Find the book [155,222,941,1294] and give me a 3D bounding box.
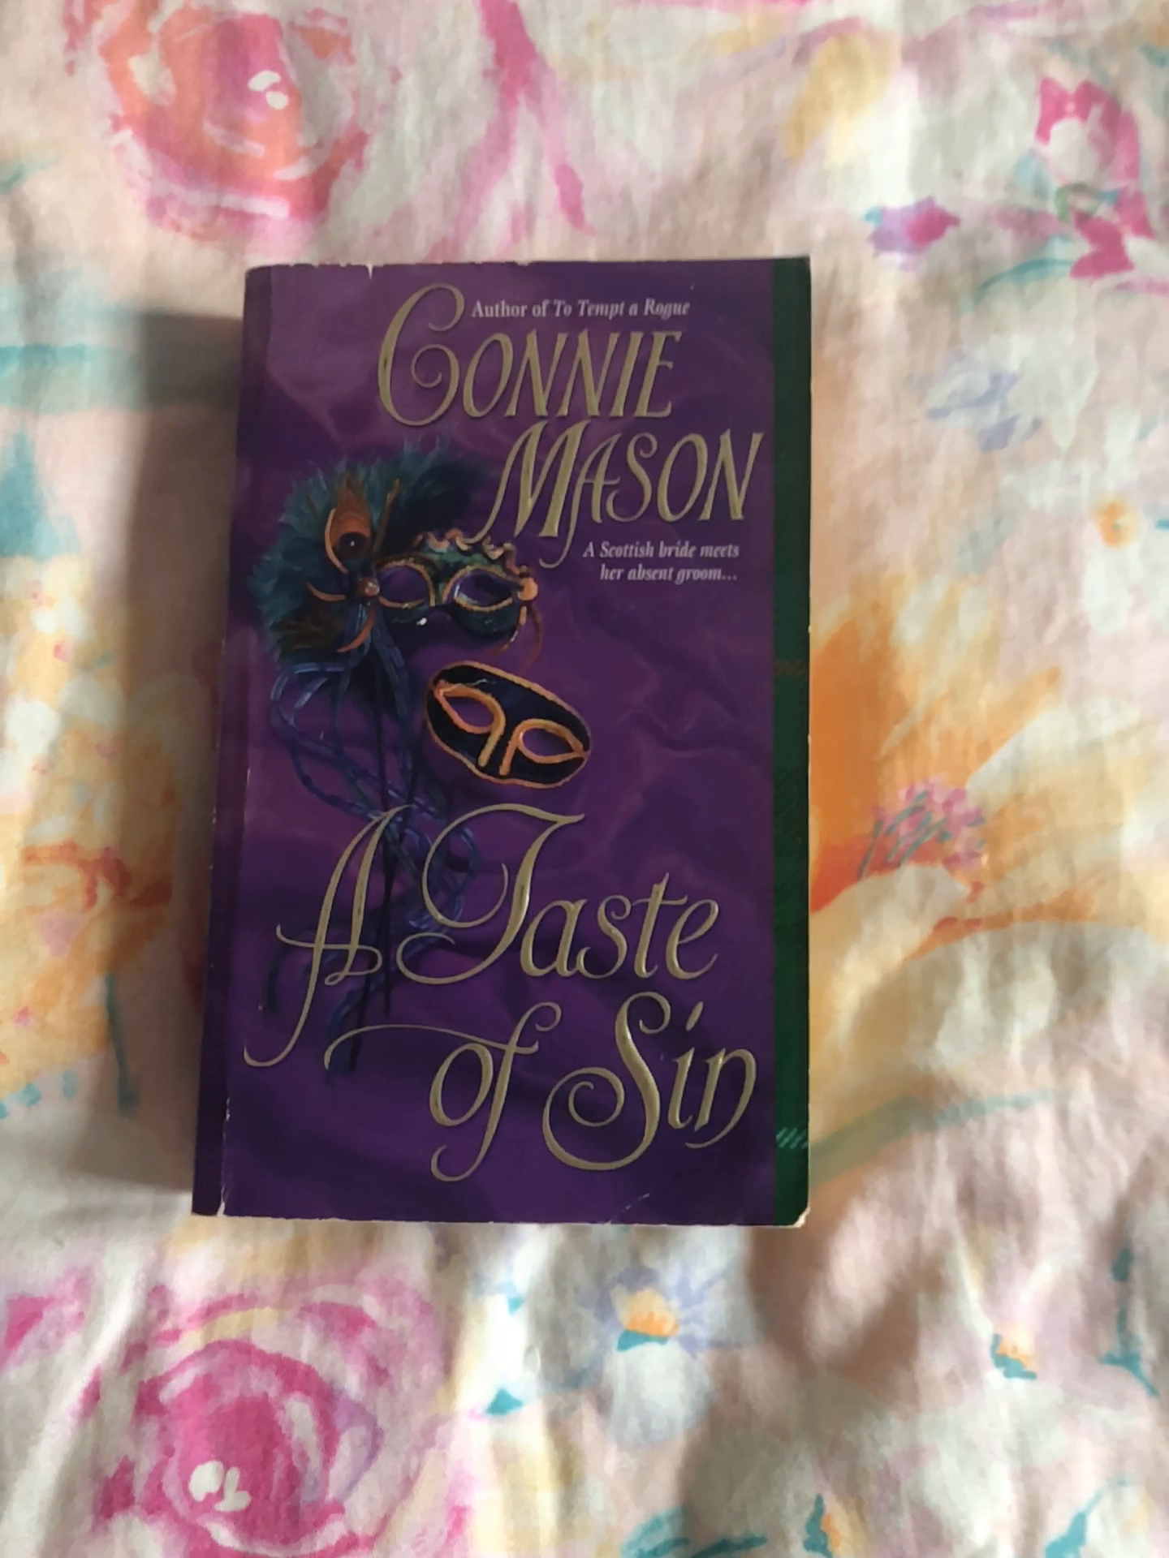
[{"bbox_3d":[-0.007,-0.007,0.238,0.120,0.040,0.180,0,78,-5],"label":"book"}]
